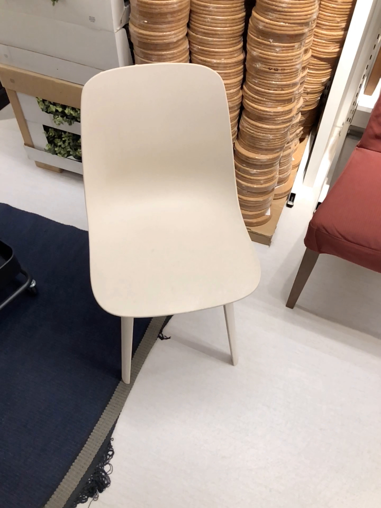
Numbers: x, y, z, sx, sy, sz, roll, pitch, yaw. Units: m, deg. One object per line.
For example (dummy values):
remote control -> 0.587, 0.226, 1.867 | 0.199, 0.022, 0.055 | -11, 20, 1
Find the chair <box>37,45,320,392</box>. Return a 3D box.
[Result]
chair -> -0.056, -0.048, 1.078 | 0.450, 0.696, 0.493 | -9, 53, -6
